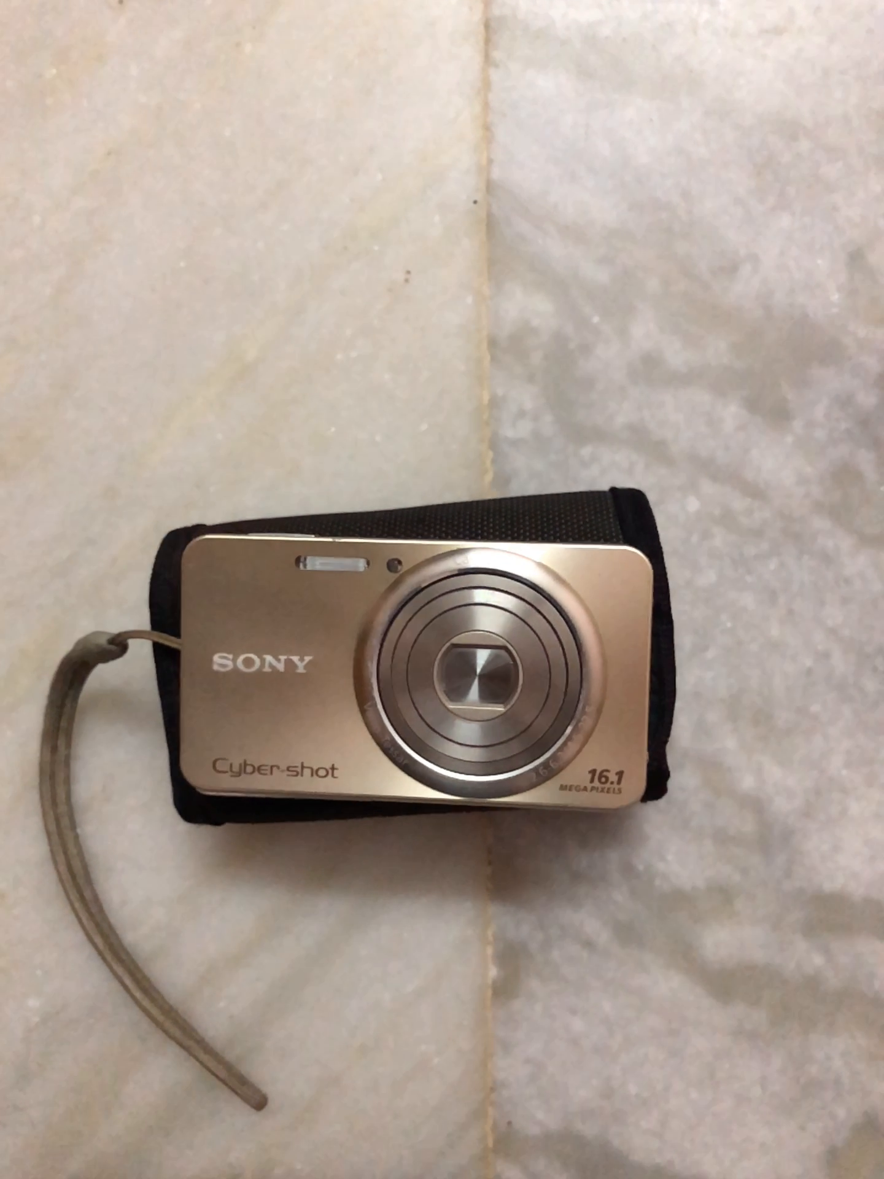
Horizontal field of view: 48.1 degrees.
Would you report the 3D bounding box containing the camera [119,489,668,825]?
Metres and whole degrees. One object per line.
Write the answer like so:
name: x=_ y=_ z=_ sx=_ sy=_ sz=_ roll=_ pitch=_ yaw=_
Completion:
camera: x=-0.009 y=0.012 z=0.191 sx=0.100 sy=0.020 sz=0.060 roll=1 pitch=92 yaw=3
